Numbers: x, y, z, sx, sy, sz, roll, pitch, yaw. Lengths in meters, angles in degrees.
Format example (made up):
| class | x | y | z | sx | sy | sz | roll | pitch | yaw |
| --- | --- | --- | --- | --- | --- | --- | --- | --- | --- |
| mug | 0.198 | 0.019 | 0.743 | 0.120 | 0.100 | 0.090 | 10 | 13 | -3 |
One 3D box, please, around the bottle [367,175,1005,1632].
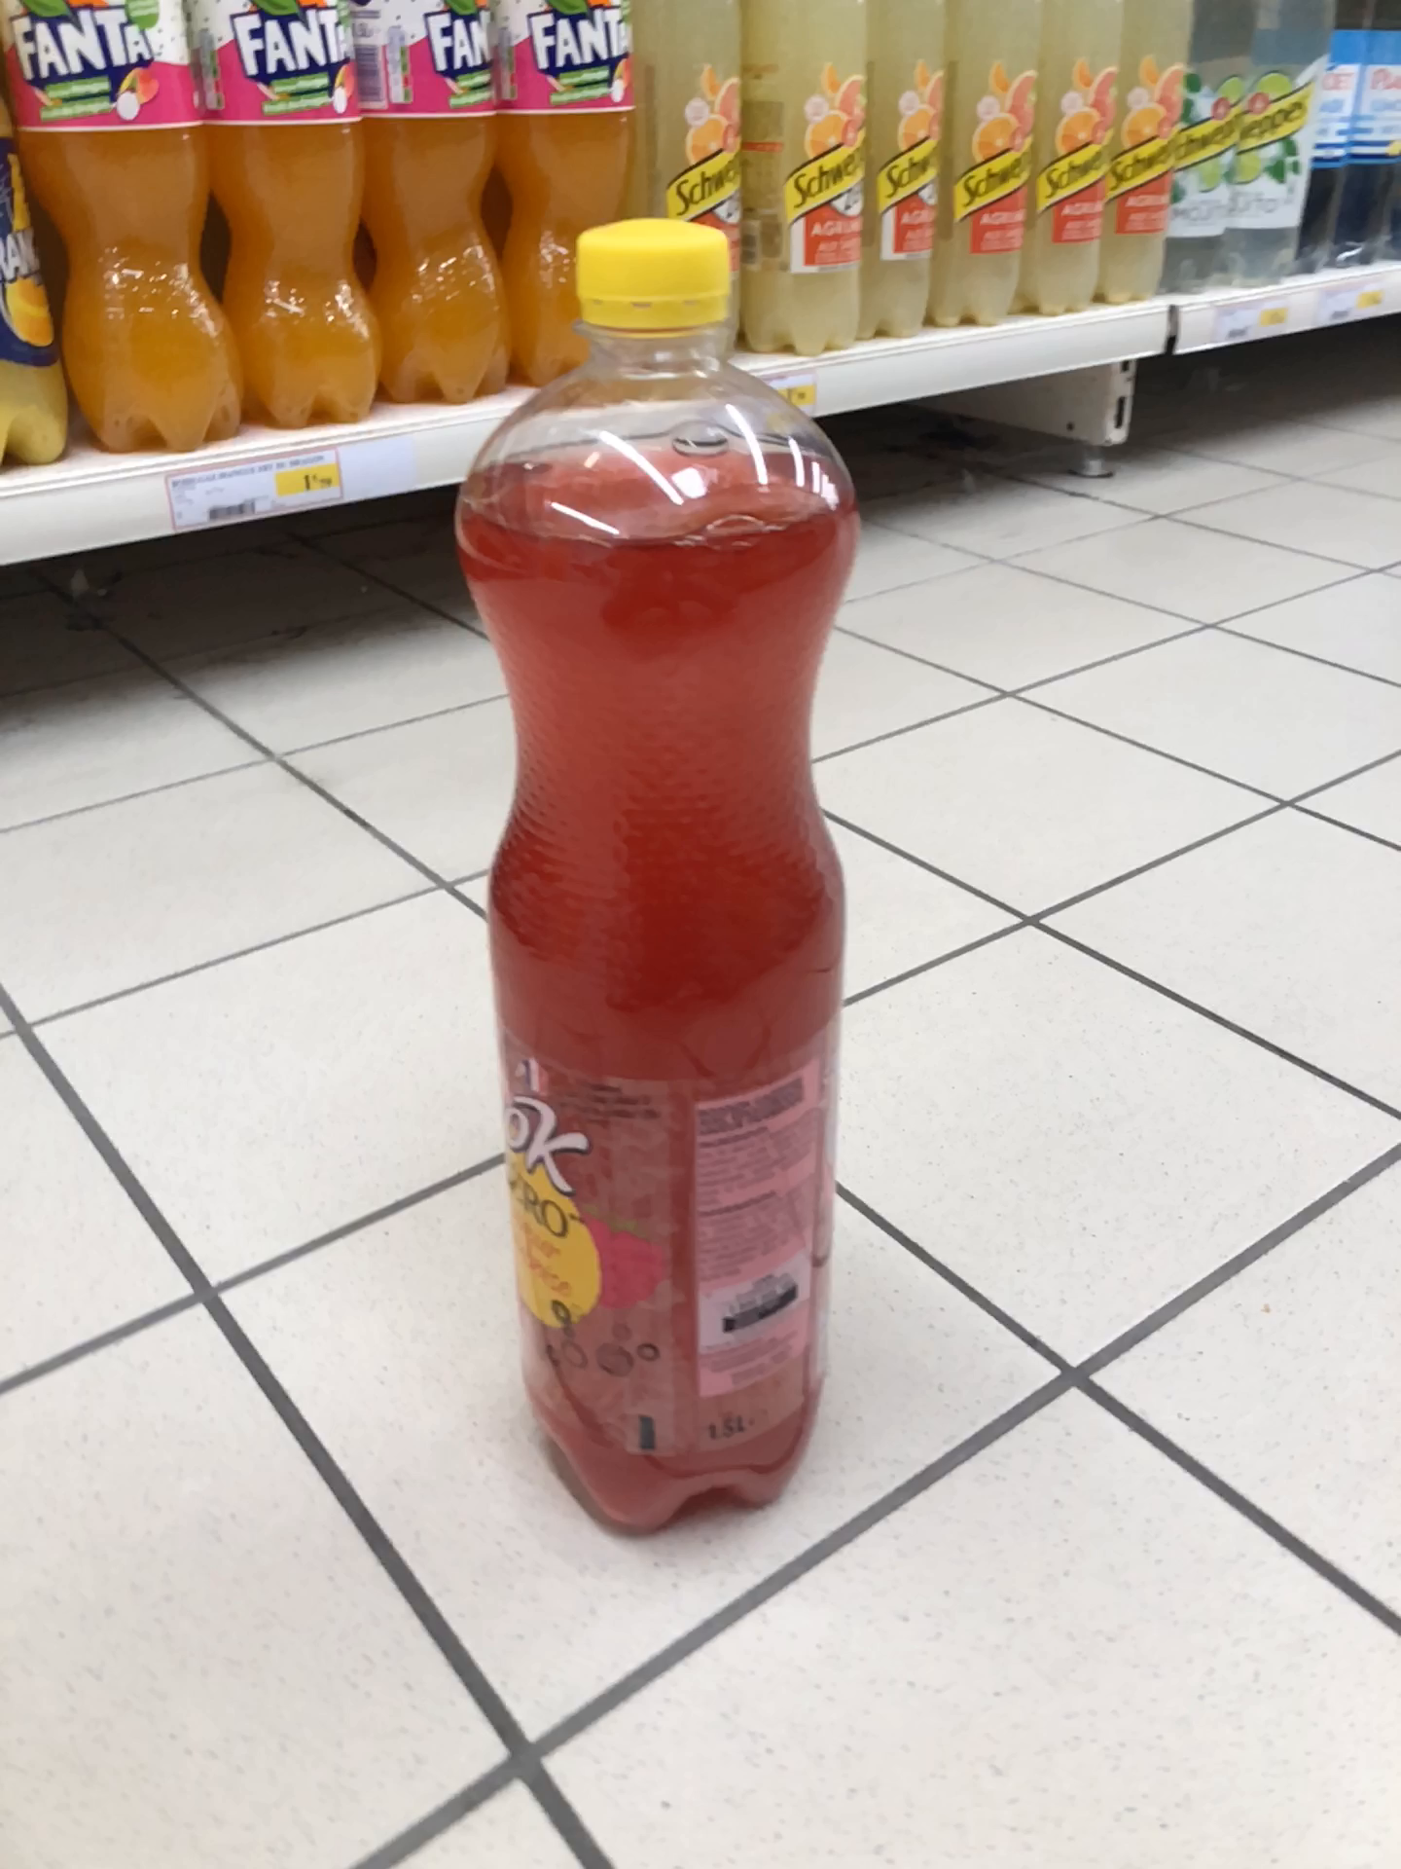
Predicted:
| class | x | y | z | sx | sy | sz | roll | pitch | yaw |
| --- | --- | --- | --- | --- | --- | --- | --- | --- | --- |
| bottle | -0.007 | 0.004 | 0.371 | 0.090 | 0.328 | 0.100 | -12 | 31 | -19 |
